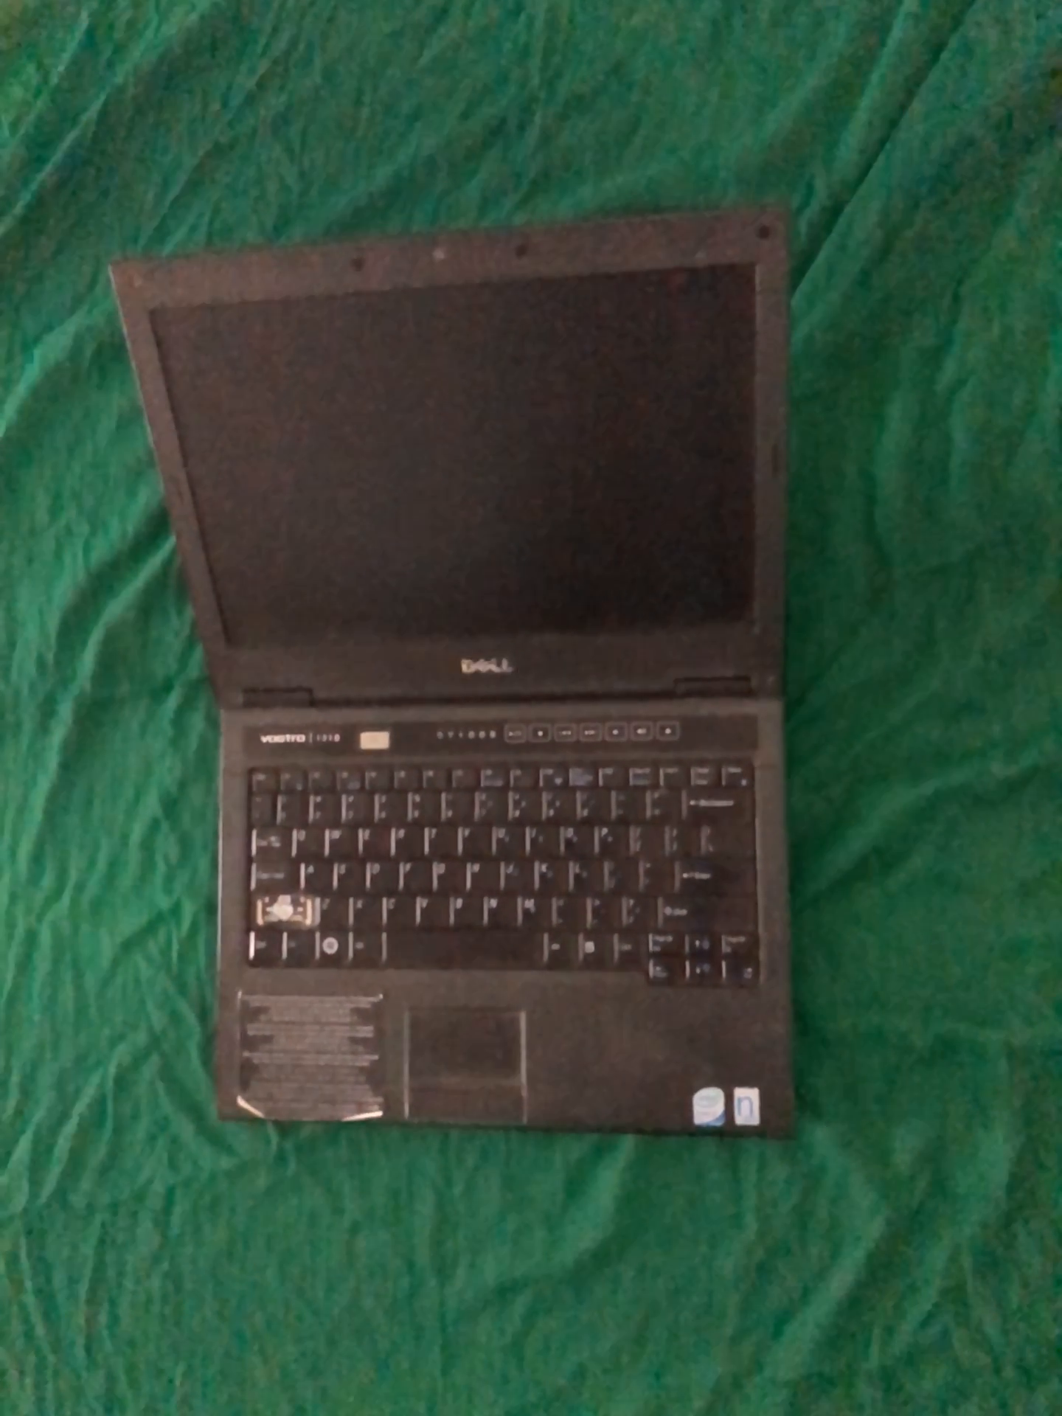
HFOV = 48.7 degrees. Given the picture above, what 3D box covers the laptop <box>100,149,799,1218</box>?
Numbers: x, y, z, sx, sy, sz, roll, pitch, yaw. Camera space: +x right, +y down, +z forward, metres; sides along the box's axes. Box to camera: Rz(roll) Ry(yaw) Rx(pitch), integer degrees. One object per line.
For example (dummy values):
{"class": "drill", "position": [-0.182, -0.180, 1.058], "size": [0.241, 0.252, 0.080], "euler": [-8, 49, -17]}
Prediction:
{"class": "laptop", "position": [-0.034, 0.001, 0.573], "size": [0.313, 0.127, 0.438], "euler": [-1, 90, 11]}
